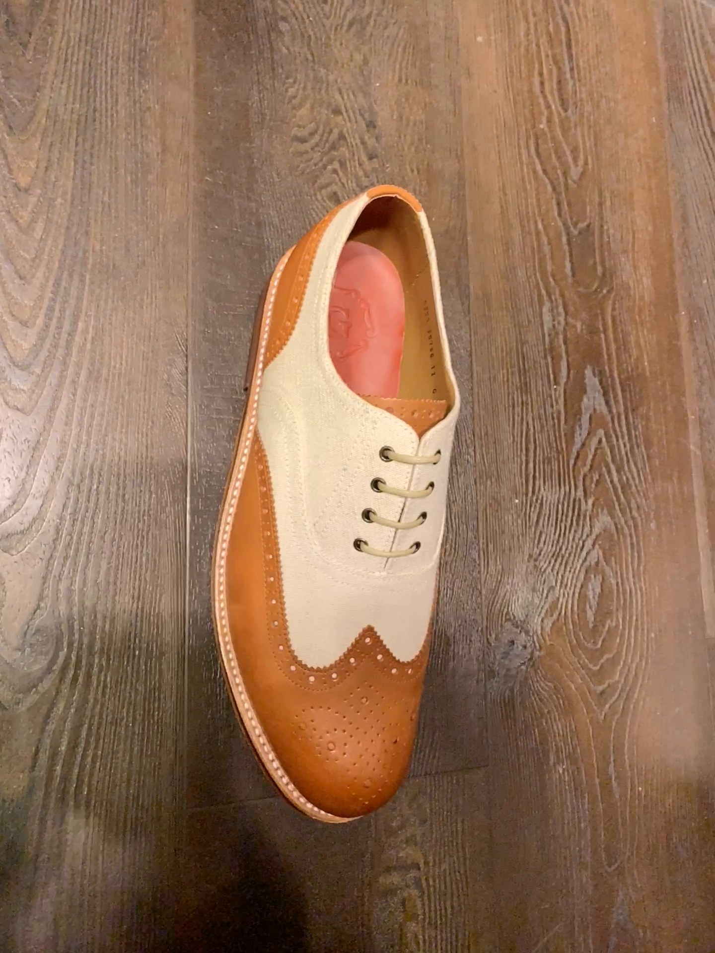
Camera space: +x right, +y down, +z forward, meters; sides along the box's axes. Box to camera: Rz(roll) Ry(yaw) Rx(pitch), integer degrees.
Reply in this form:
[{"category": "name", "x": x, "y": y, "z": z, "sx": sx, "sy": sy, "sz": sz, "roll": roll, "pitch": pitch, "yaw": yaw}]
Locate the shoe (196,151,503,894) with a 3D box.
[{"category": "shoe", "x": -0.009, "y": 0.019, "z": 0.371, "sx": 0.110, "sy": 0.120, "sz": 0.300, "roll": 4, "pitch": 81, "yaw": -22}]
